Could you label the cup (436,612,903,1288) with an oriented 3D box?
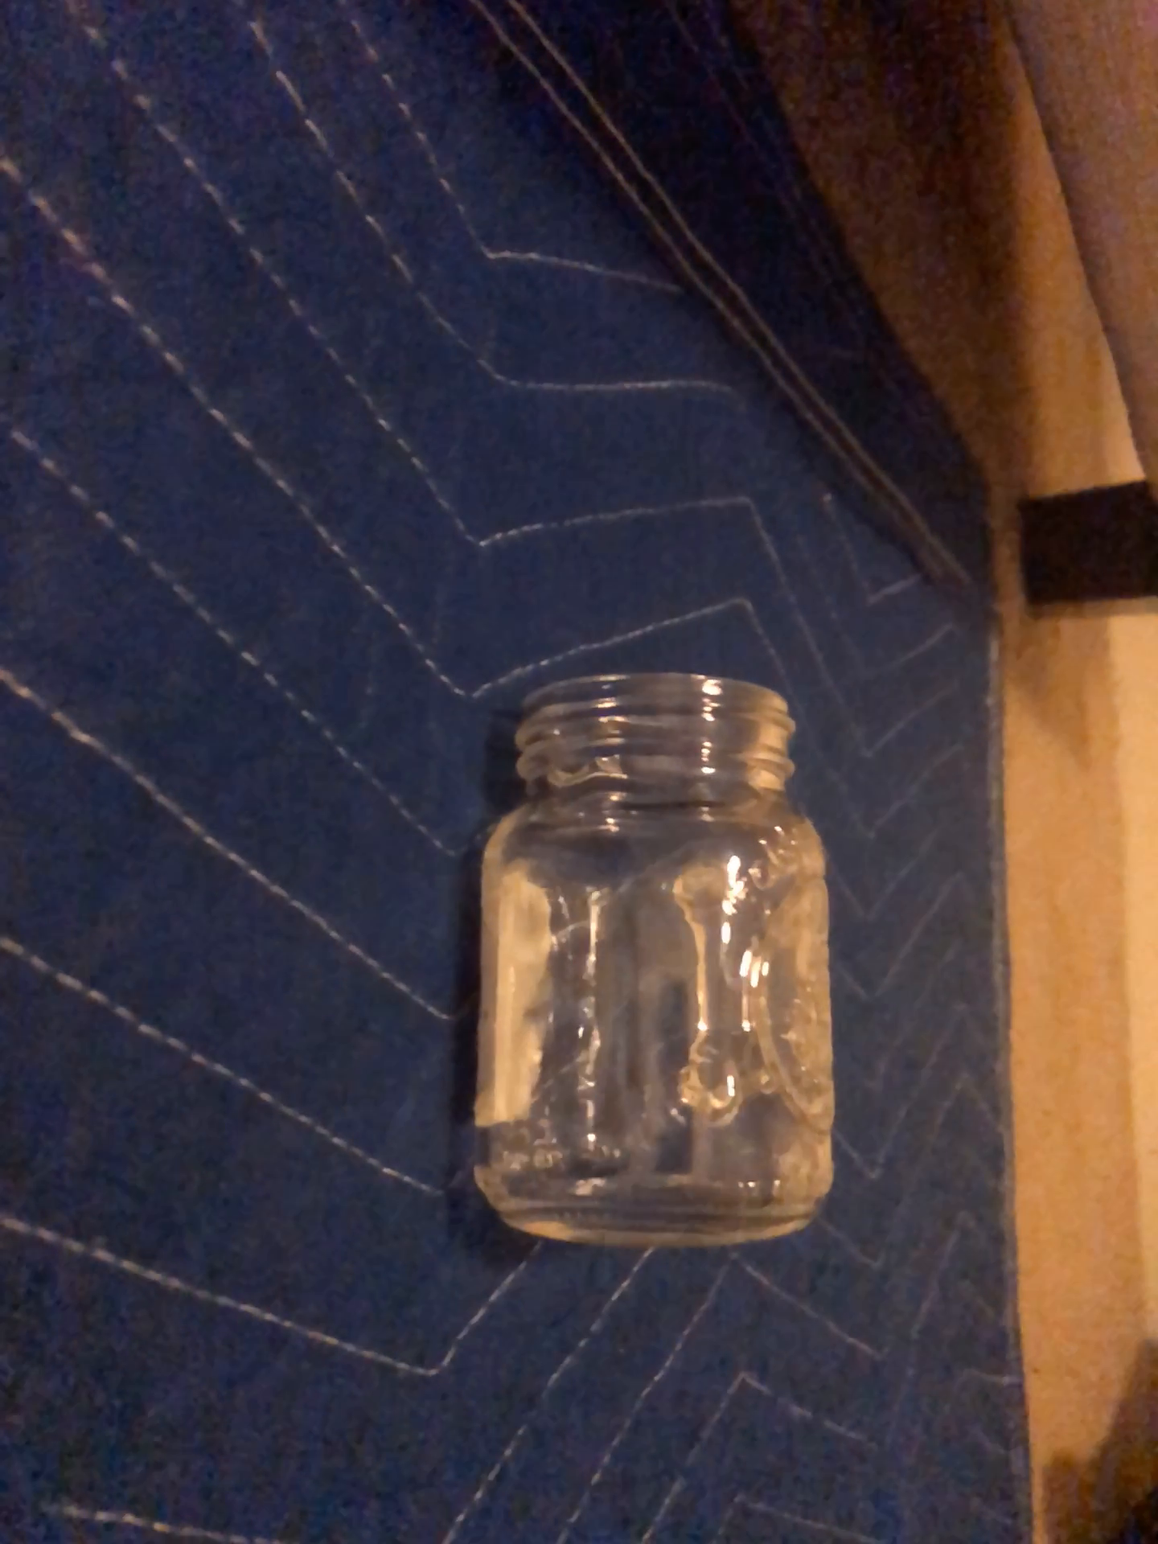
[{"bbox_3d":[0.022,0.030,0.232,0.089,0.043,0.095,0,90,-59],"label":"cup"}]
